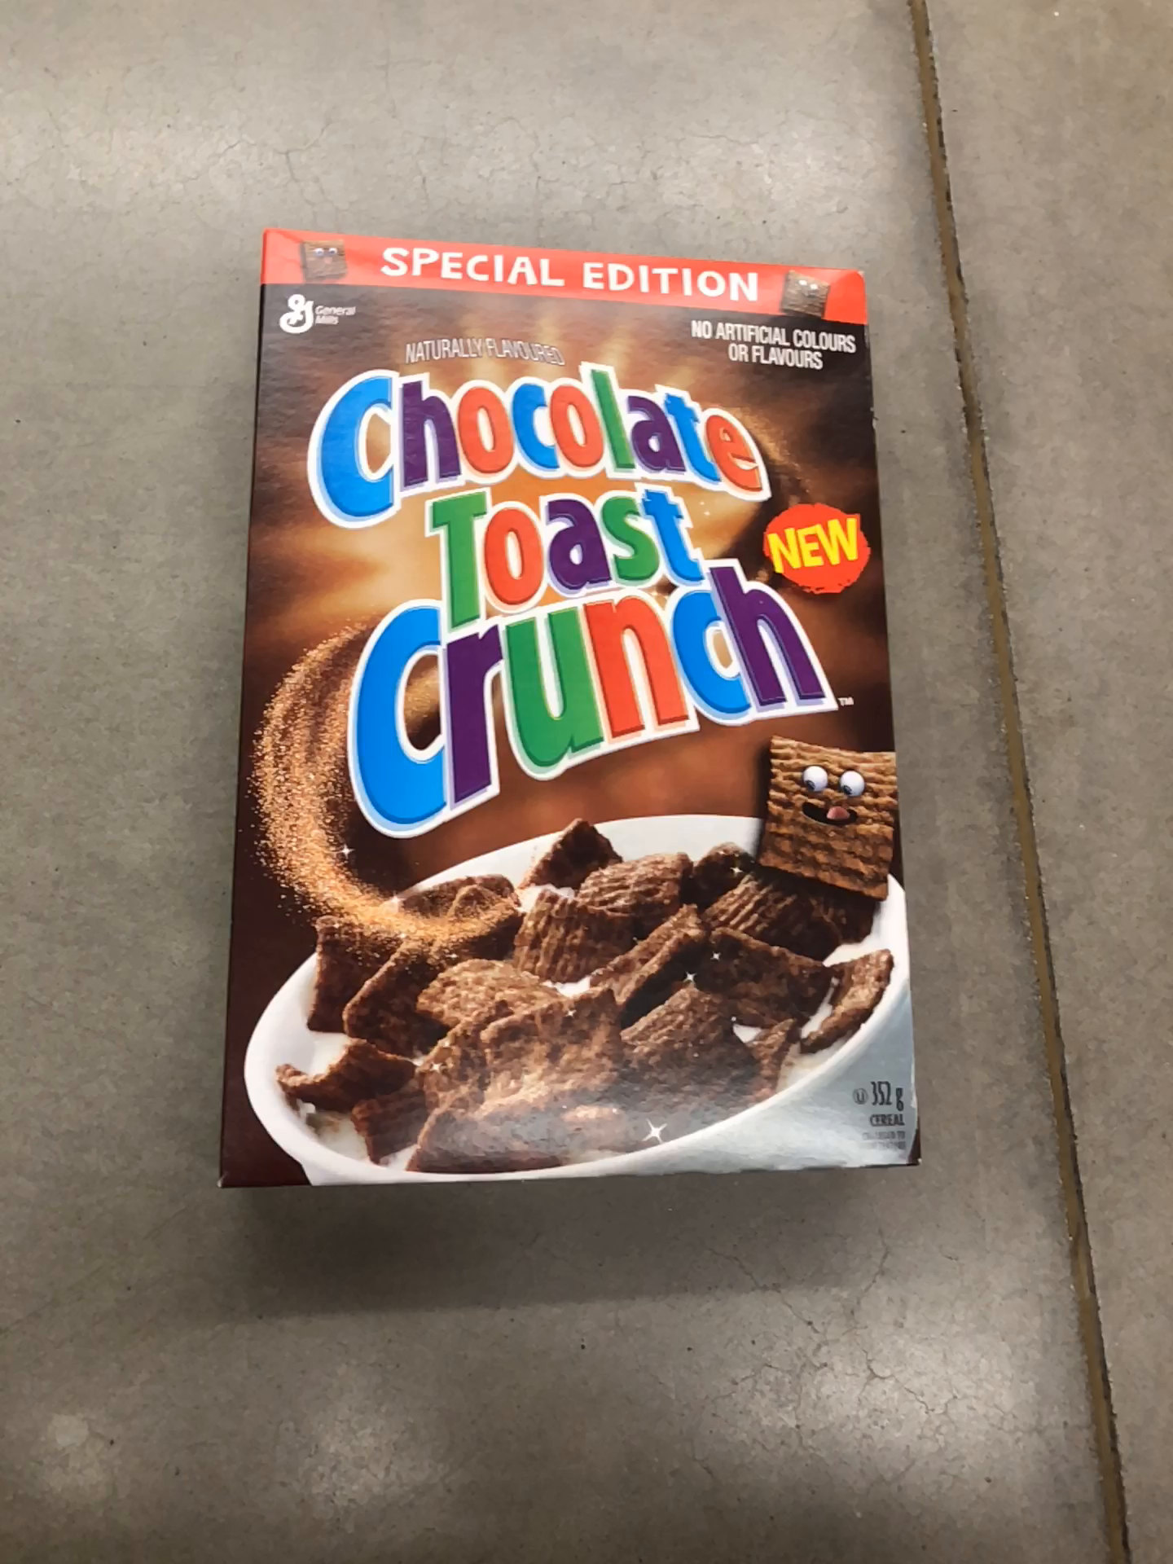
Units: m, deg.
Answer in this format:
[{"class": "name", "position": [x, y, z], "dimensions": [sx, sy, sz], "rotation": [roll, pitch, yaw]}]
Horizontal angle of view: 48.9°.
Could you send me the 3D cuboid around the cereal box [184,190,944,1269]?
[{"class": "cereal box", "position": [-0.013, -0.022, 0.398], "dimensions": [0.190, 0.070, 0.311], "rotation": [1, 72, -10]}]
